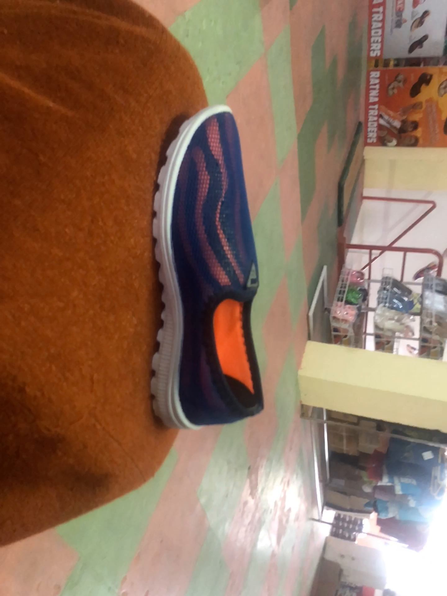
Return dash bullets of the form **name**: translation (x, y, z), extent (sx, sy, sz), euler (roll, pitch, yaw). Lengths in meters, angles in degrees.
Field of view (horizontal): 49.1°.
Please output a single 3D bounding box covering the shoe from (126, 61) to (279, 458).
- **shoe**: translation (-0.014, -0.026, 0.373), extent (0.091, 0.070, 0.260), euler (-18, 114, -68)
